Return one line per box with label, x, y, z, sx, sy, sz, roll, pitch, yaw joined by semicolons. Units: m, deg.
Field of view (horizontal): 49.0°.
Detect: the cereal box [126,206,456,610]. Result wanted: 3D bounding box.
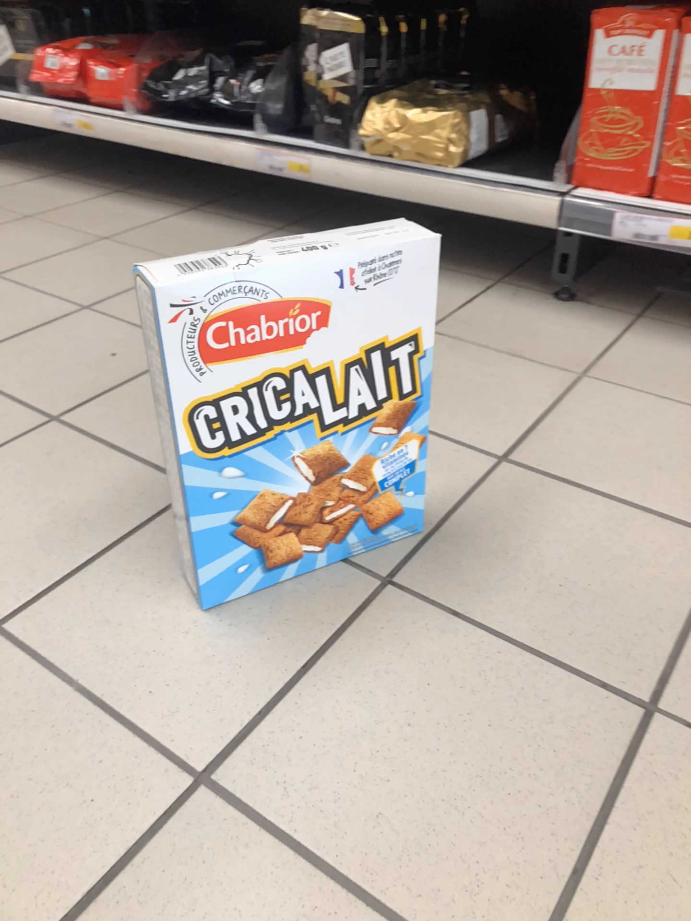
cereal box;-0.028;-0.034;0.536;0.201;0.248;0.050;-16;37;-22
